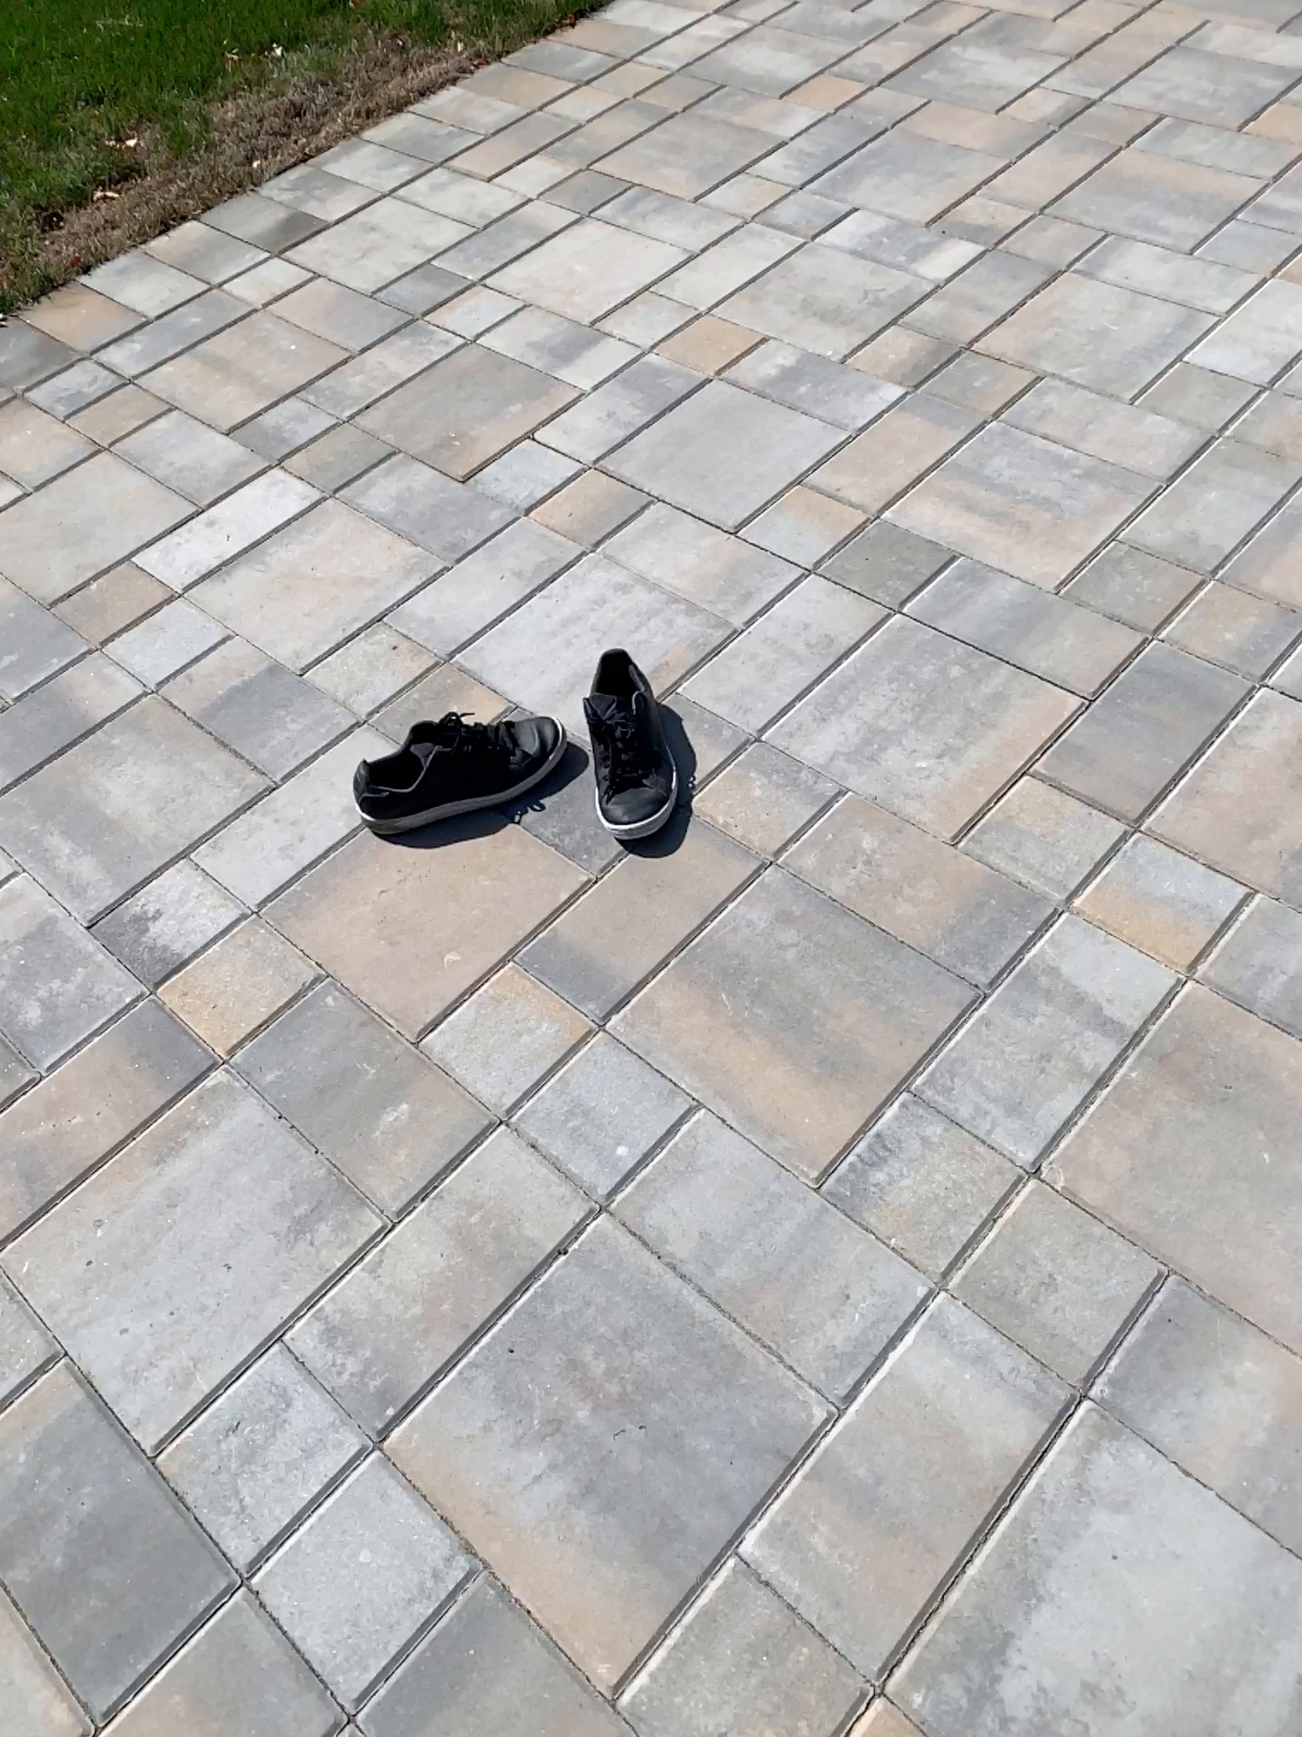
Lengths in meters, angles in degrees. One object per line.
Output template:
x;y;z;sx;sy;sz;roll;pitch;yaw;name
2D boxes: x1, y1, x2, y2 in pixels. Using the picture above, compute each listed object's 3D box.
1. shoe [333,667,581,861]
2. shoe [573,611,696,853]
-0.224;-0.122;1.548;0.250;0.110;0.110;-19;51;-8;shoe
-0.022;-0.163;1.544;0.110;0.100;0.281;-8;50;1;shoe
